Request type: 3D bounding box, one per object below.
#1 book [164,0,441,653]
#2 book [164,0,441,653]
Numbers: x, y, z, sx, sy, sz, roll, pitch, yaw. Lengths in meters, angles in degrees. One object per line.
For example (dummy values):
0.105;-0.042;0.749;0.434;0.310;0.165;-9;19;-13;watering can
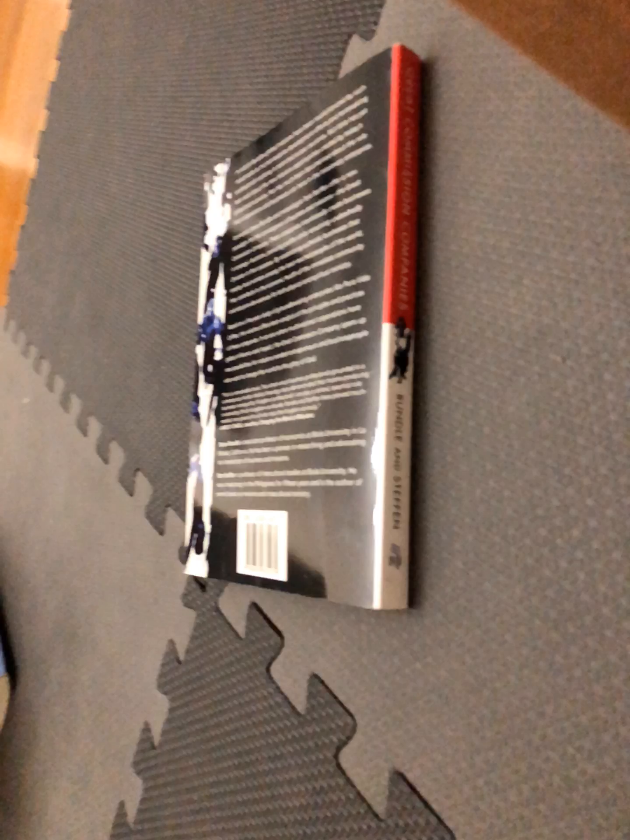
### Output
-0.013;-0.033;0.297;0.151;0.020;0.230;-8;75;52;book
-0.013;-0.033;0.297;0.151;0.020;0.230;-8;75;52;book
